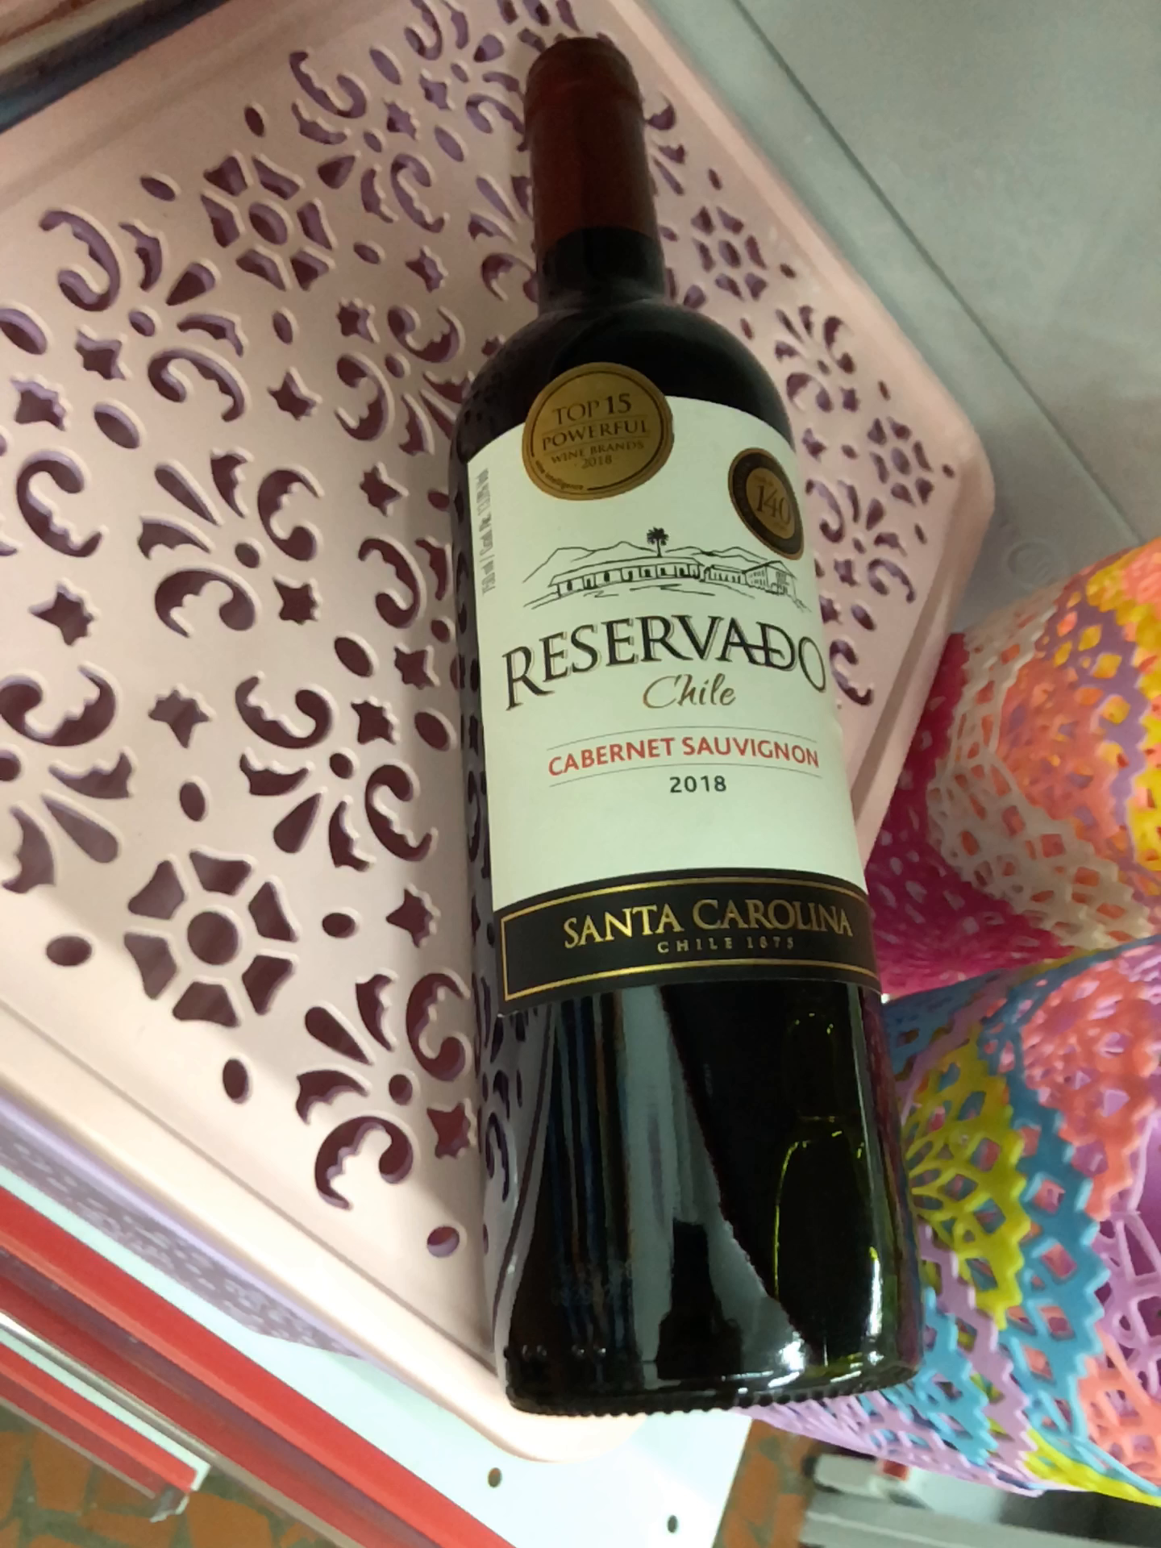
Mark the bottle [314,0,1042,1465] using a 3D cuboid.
[{"bbox_3d":[0.001,-0.055,0.256,0.080,0.060,0.330,11,61,-35],"label":"bottle"}]
